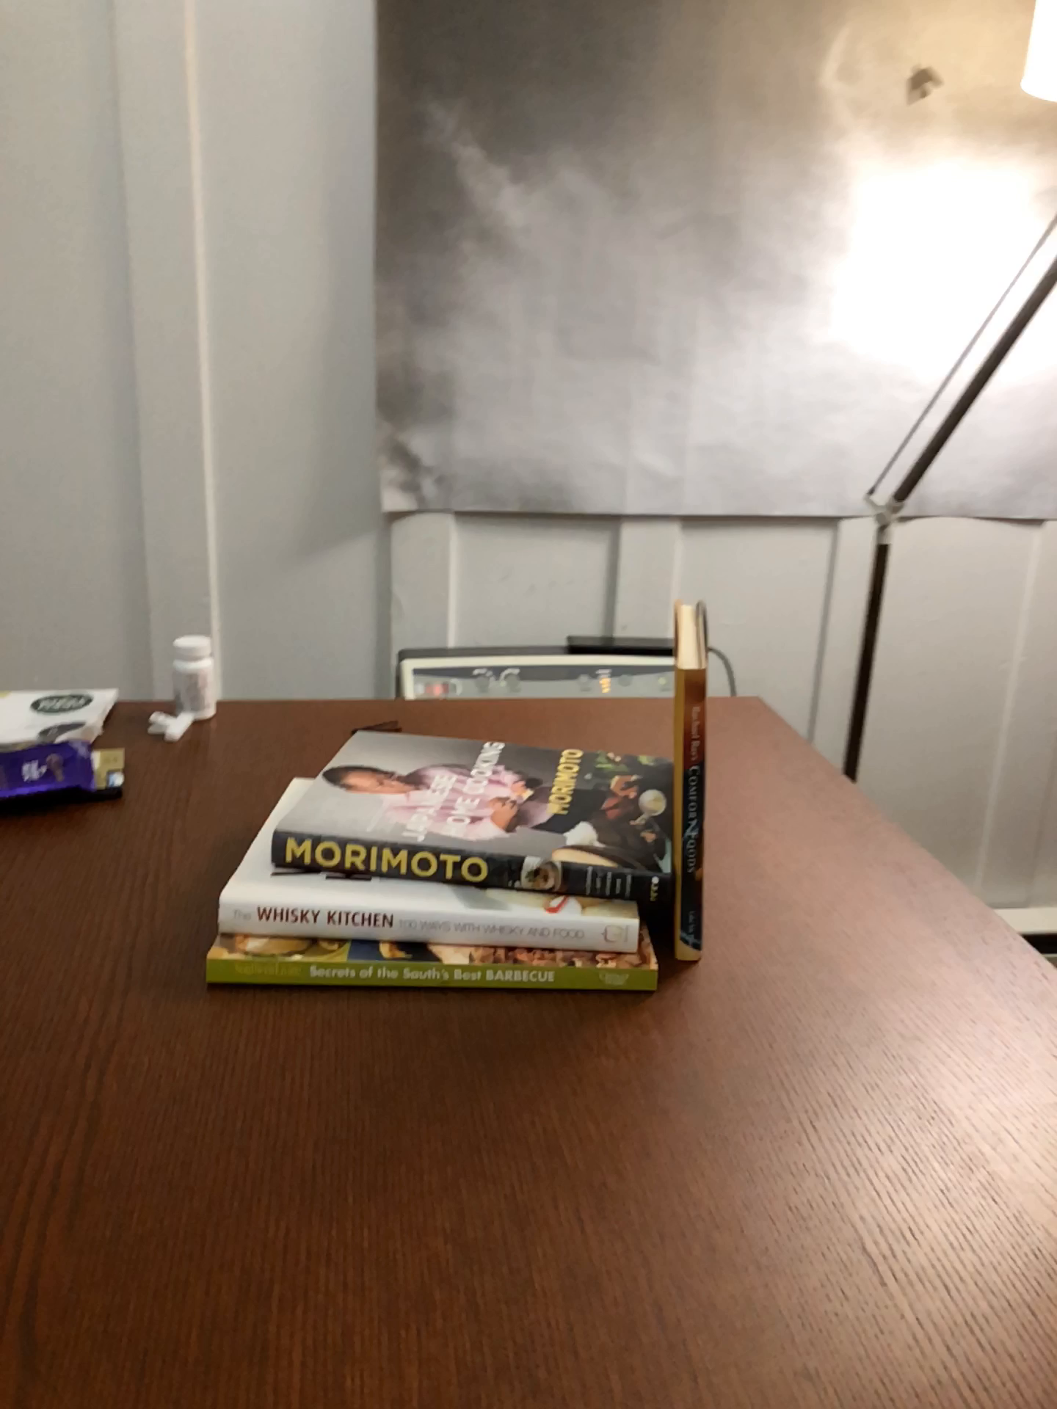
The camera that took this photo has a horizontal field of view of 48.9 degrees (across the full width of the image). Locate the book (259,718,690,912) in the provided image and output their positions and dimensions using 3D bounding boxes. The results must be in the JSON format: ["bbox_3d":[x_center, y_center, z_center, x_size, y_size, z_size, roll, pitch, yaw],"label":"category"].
[{"bbox_3d":[-0.027,0.072,0.858,0.280,0.030,0.221,5,18,4],"label":"book"}]

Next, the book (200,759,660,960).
[{"bbox_3d":[-0.060,0.100,0.817,0.280,0.030,0.221,4,18,-1],"label":"book"}]

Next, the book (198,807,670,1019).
[{"bbox_3d":[-0.059,0.135,0.800,0.280,0.030,0.221,3,18,-3],"label":"book"}]

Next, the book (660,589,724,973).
[{"bbox_3d":[0.115,0.042,0.824,0.030,0.209,0.211,3,17,7],"label":"book"}]
